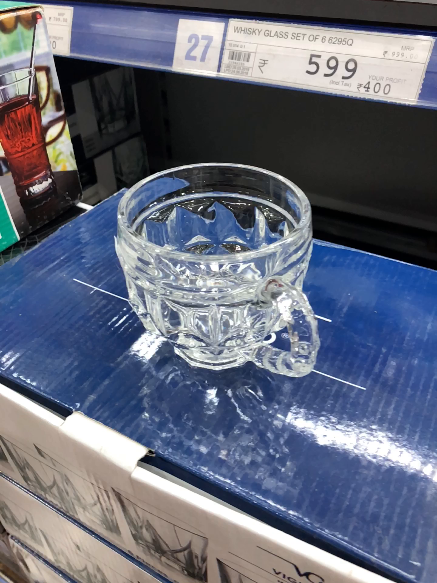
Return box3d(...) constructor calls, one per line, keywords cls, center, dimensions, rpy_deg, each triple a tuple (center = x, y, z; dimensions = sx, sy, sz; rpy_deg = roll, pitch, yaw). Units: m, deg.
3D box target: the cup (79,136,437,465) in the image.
box3d(cls="cup", center=(0.008, -0.009, 0.202), dimensions=(0.090, 0.060, 0.110), rpy_deg=(-19, 41, -22))
